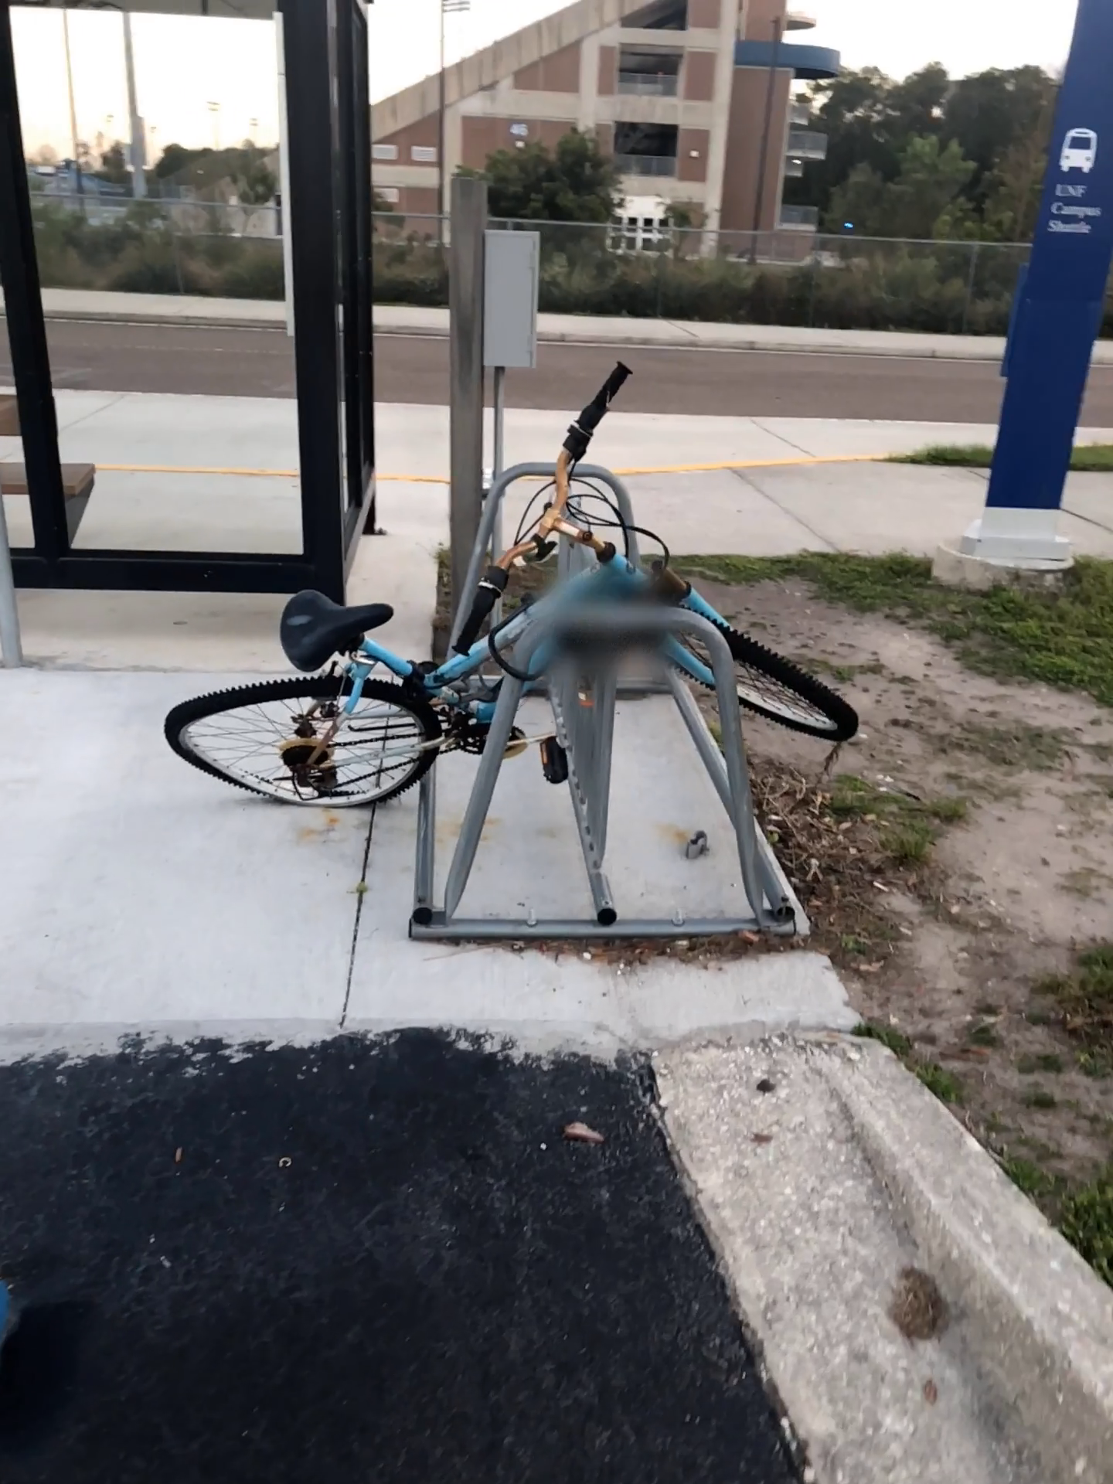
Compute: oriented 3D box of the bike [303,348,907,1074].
[{"bbox_3d":[0.070,-0.116,2.249,0.937,1.128,0.550,8,23,17],"label":"bike"}]
